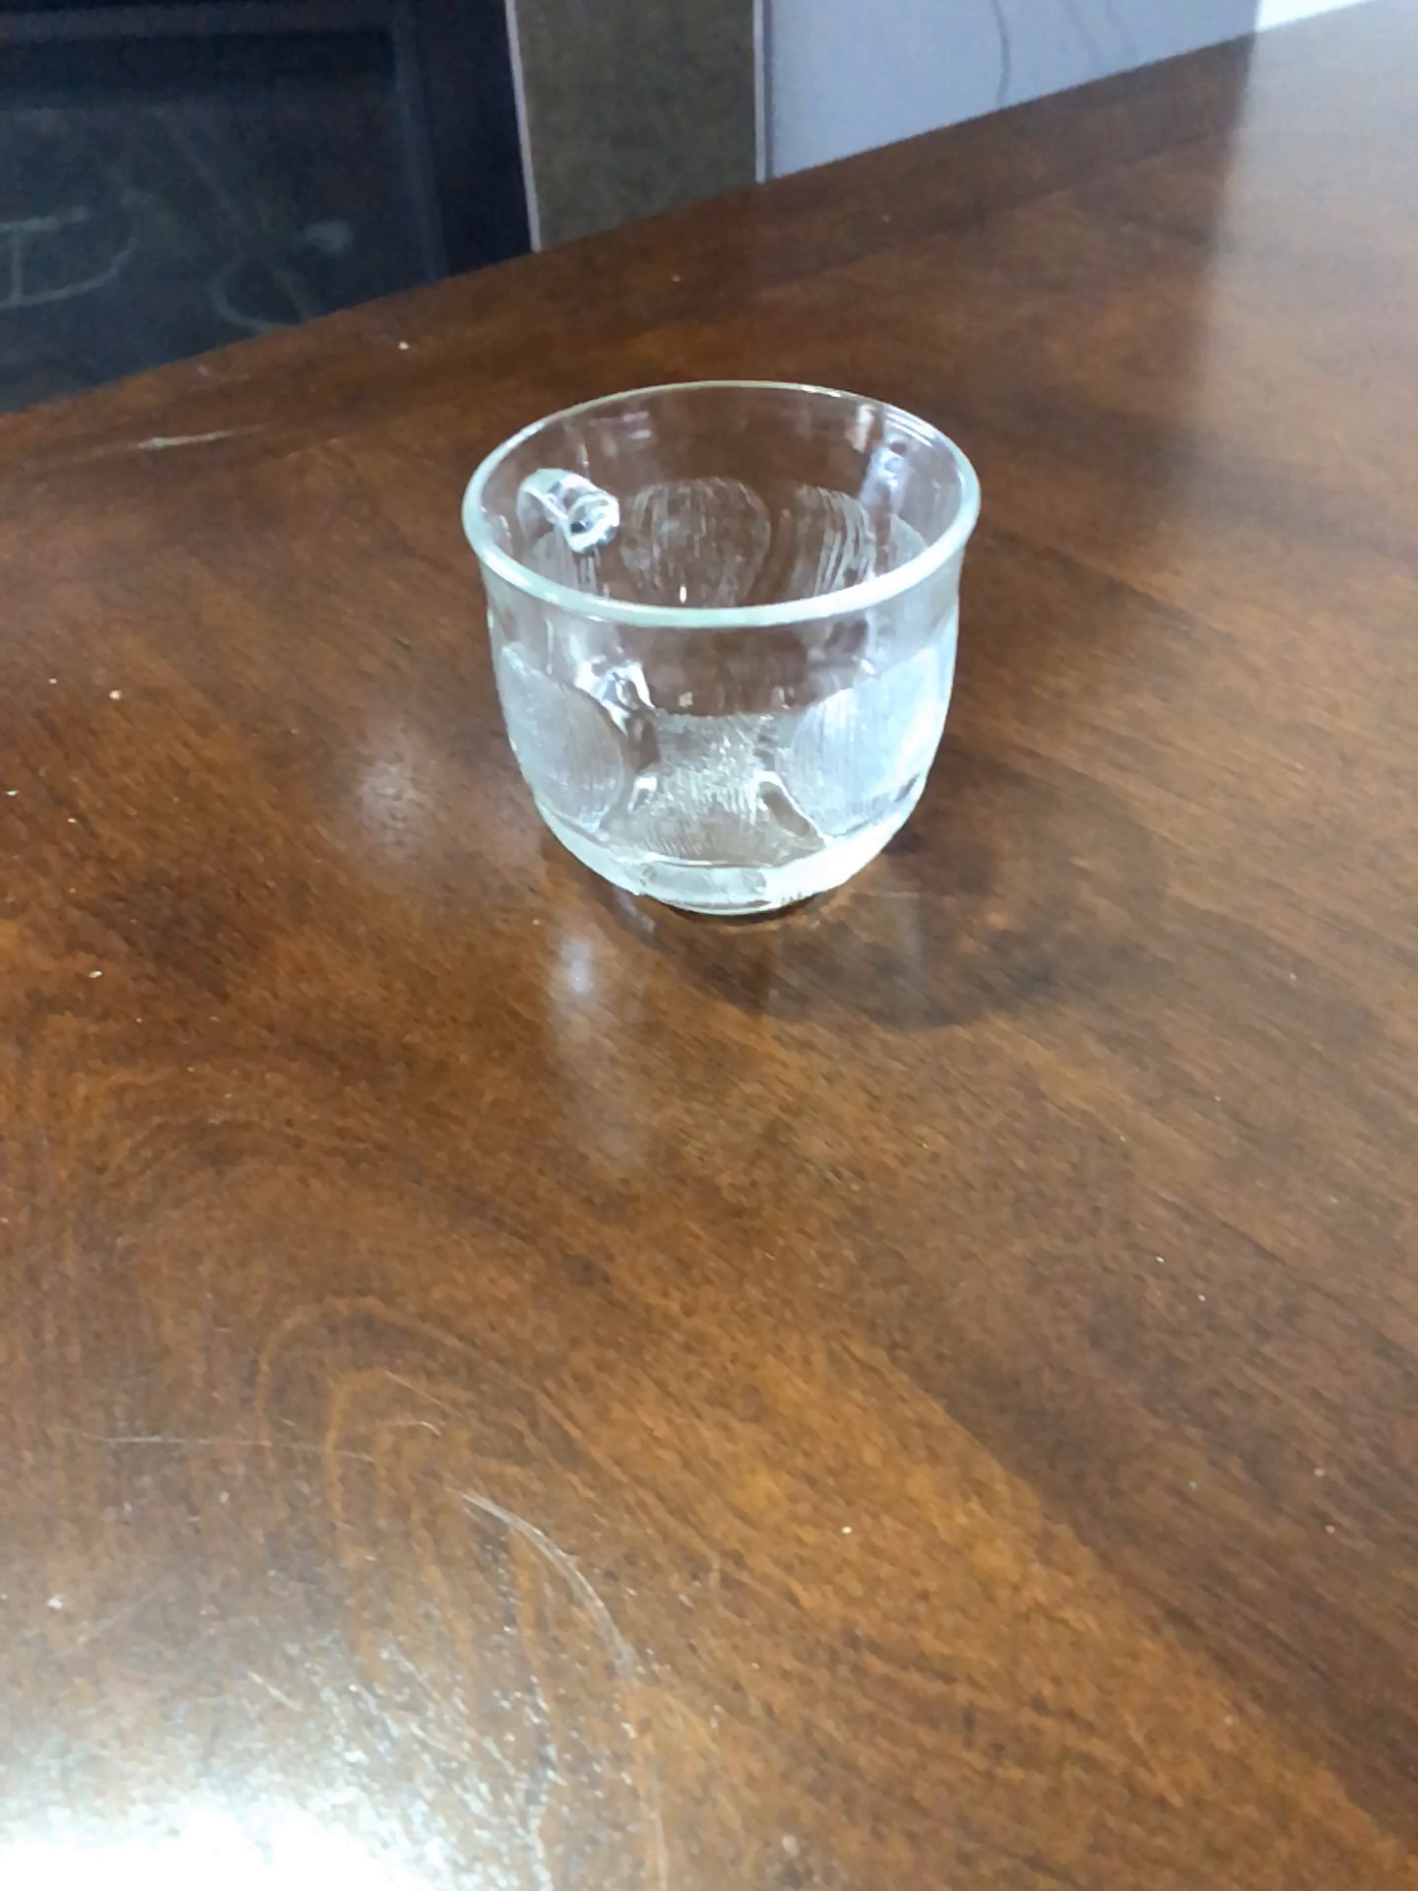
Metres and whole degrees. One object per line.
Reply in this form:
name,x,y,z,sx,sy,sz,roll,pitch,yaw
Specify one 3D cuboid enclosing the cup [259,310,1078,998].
cup,-0.008,-0.054,0.256,0.080,0.050,0.100,-29,48,-26
